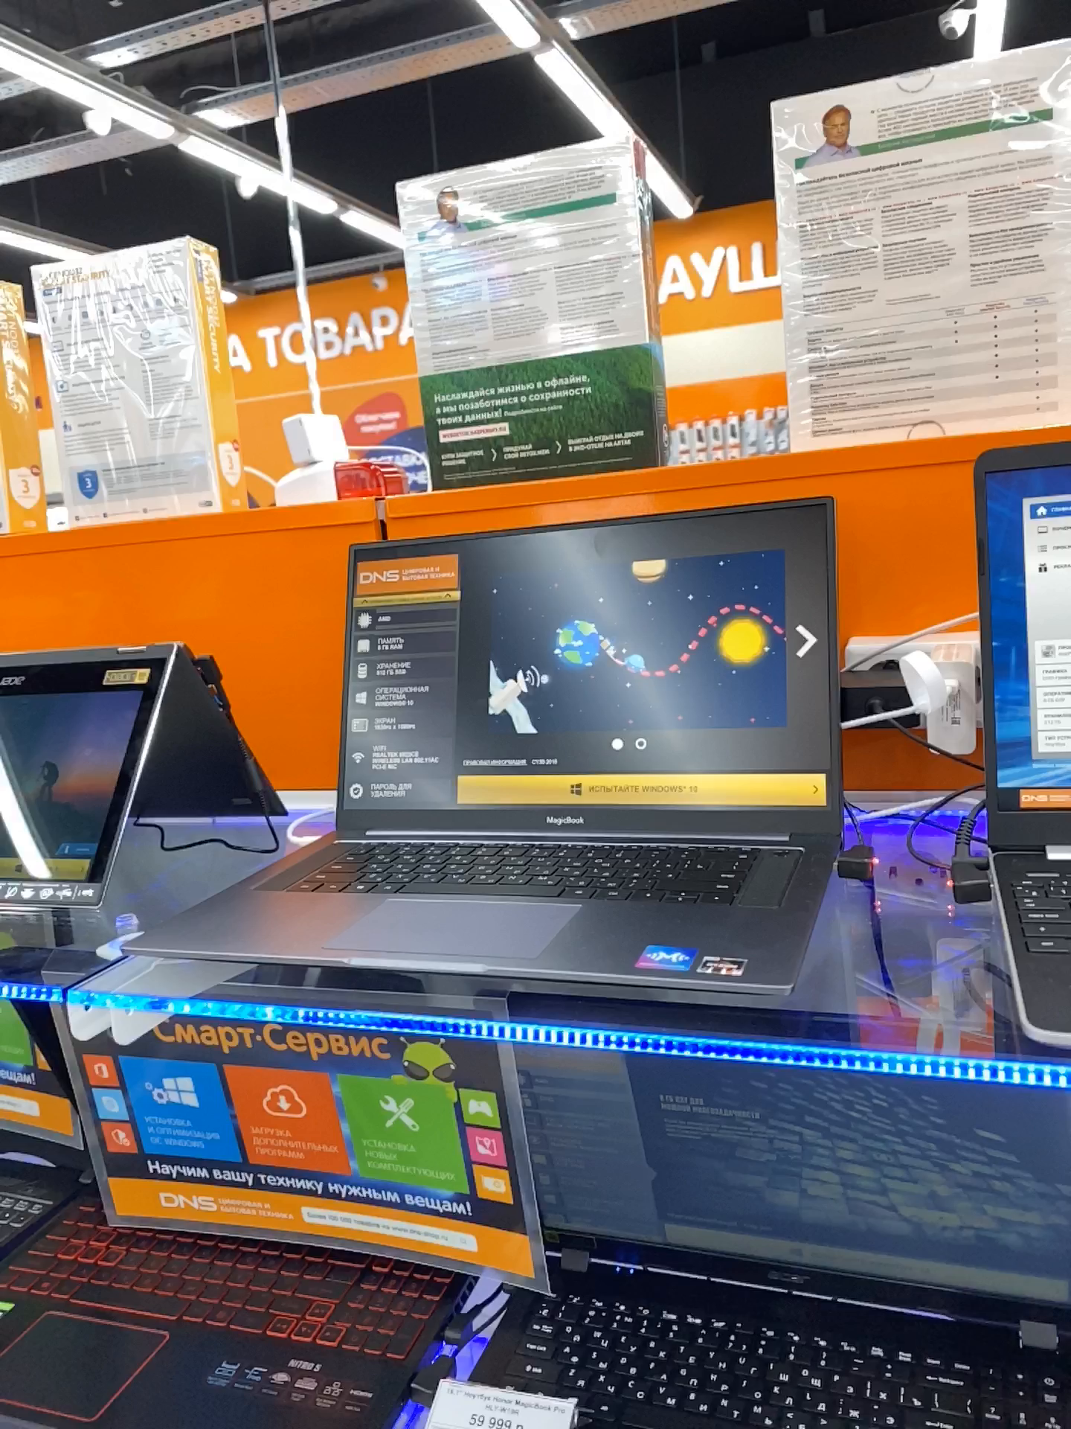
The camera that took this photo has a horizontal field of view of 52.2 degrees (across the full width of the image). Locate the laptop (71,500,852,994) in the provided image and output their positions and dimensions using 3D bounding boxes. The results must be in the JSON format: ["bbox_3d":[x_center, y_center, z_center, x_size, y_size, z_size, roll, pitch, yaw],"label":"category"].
[{"bbox_3d":[-0.013,-0.006,0.675,0.368,0.207,0.314,-2,10,21],"label":"laptop"}]
